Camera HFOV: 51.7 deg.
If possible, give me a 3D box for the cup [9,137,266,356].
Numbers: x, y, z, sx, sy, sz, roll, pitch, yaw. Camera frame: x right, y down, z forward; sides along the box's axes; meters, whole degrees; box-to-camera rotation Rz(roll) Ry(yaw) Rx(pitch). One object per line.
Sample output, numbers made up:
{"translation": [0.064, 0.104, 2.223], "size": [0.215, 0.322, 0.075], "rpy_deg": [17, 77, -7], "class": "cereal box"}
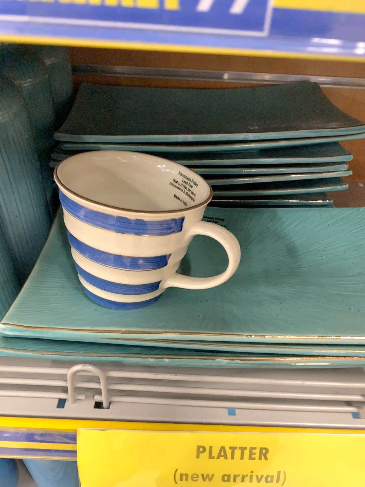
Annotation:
{"translation": [-0.025, -0.007, 0.266], "size": [0.140, 0.080, 0.100], "rpy_deg": [16, 32, 8], "class": "cup"}
